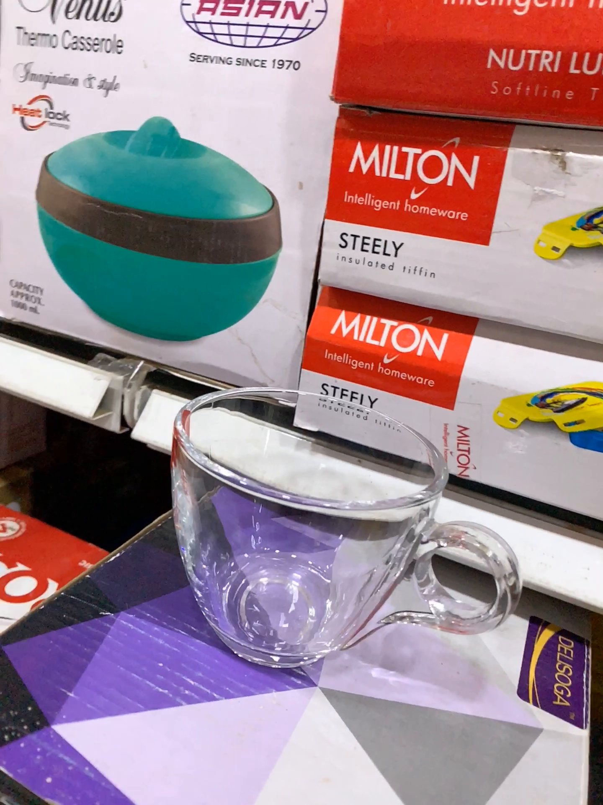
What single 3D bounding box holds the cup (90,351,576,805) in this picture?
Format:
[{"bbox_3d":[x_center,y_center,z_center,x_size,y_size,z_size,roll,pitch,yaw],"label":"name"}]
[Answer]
[{"bbox_3d":[0.010,0.035,0.183,0.110,0.060,0.080,17,24,23],"label":"cup"}]
